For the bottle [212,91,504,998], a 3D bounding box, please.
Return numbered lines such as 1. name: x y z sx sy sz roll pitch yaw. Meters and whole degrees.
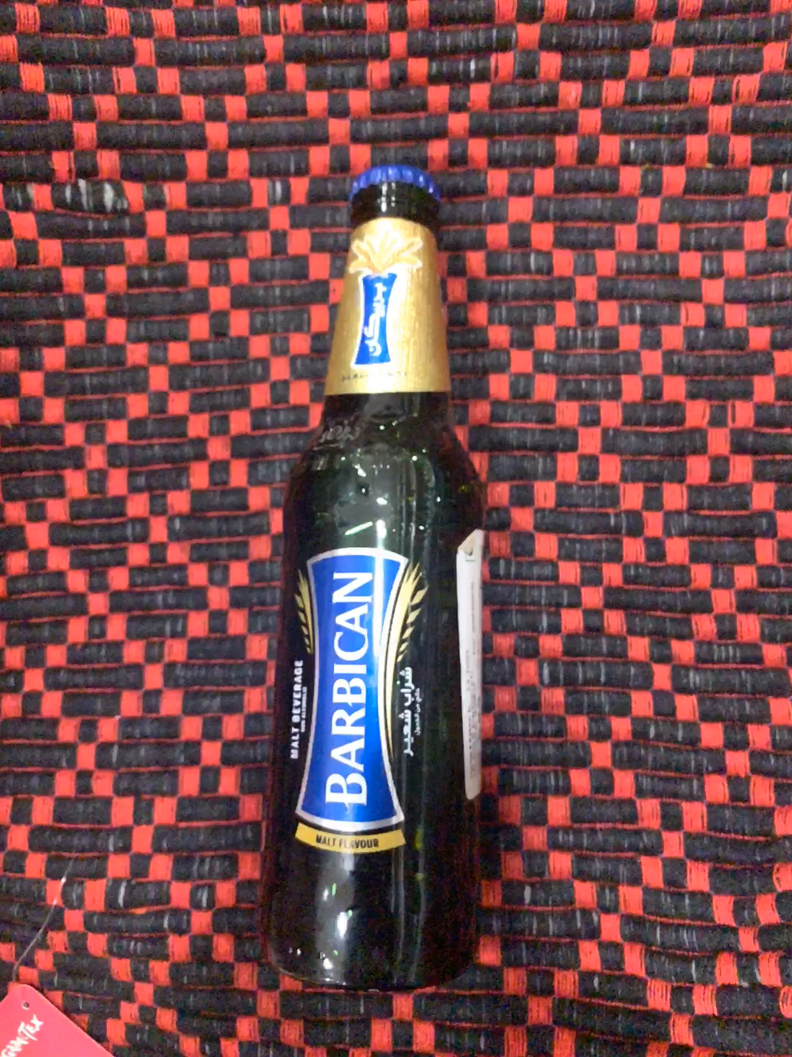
1. bottle: -0.004 -0.002 0.221 0.060 0.060 0.210 1 79 4
